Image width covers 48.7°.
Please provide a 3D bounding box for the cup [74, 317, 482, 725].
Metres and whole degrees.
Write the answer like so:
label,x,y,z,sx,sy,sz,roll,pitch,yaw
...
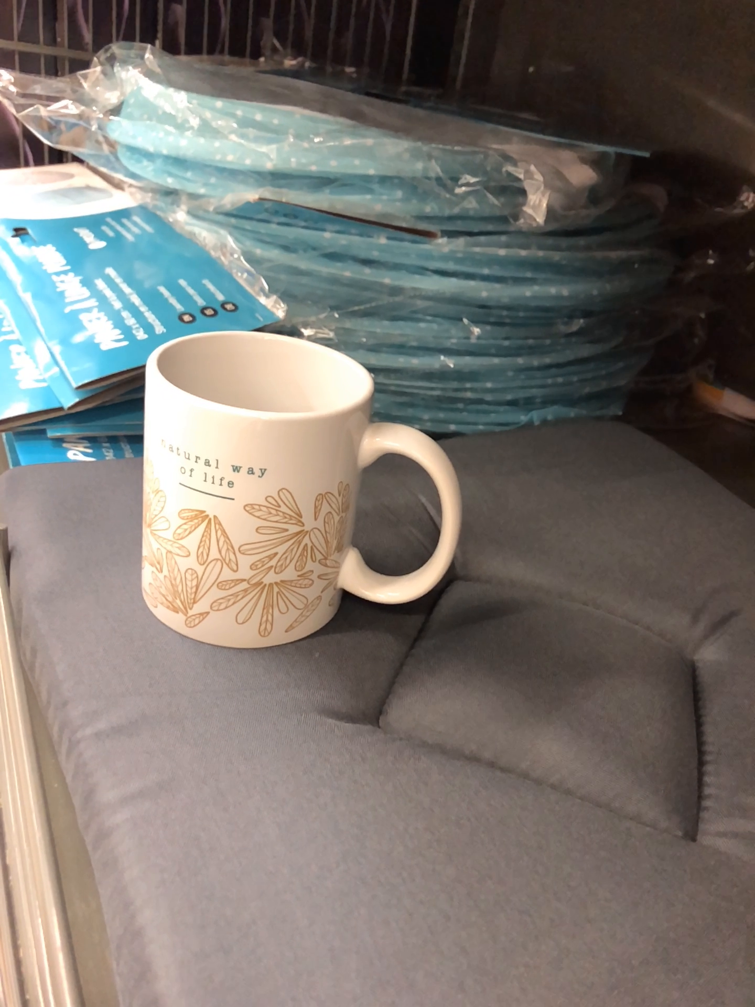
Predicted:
label,x,y,z,sx,sy,sz,roll,pitch,yaw
cup,-0.036,0.000,0.321,0.120,0.099,0.091,15,28,10
